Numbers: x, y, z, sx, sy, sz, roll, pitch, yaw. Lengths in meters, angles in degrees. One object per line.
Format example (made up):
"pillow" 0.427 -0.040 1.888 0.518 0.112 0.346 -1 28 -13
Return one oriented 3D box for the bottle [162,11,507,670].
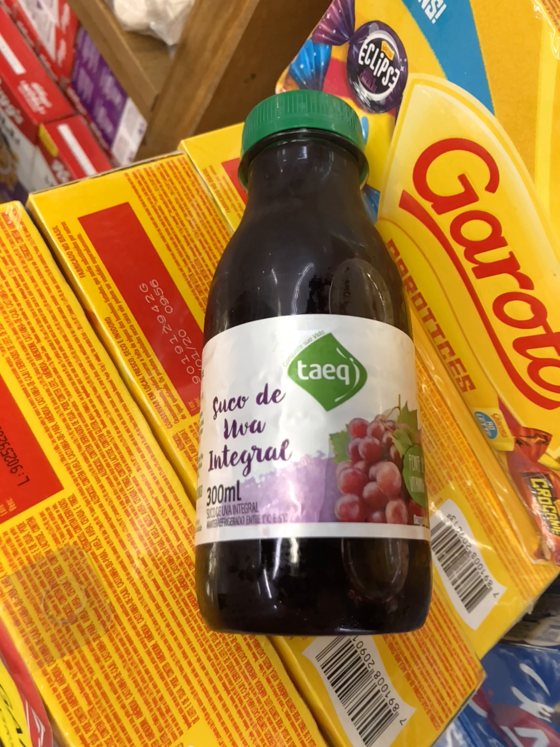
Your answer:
"bottle" 0.012 -0.010 0.186 0.070 0.050 0.170 9 68 -25
